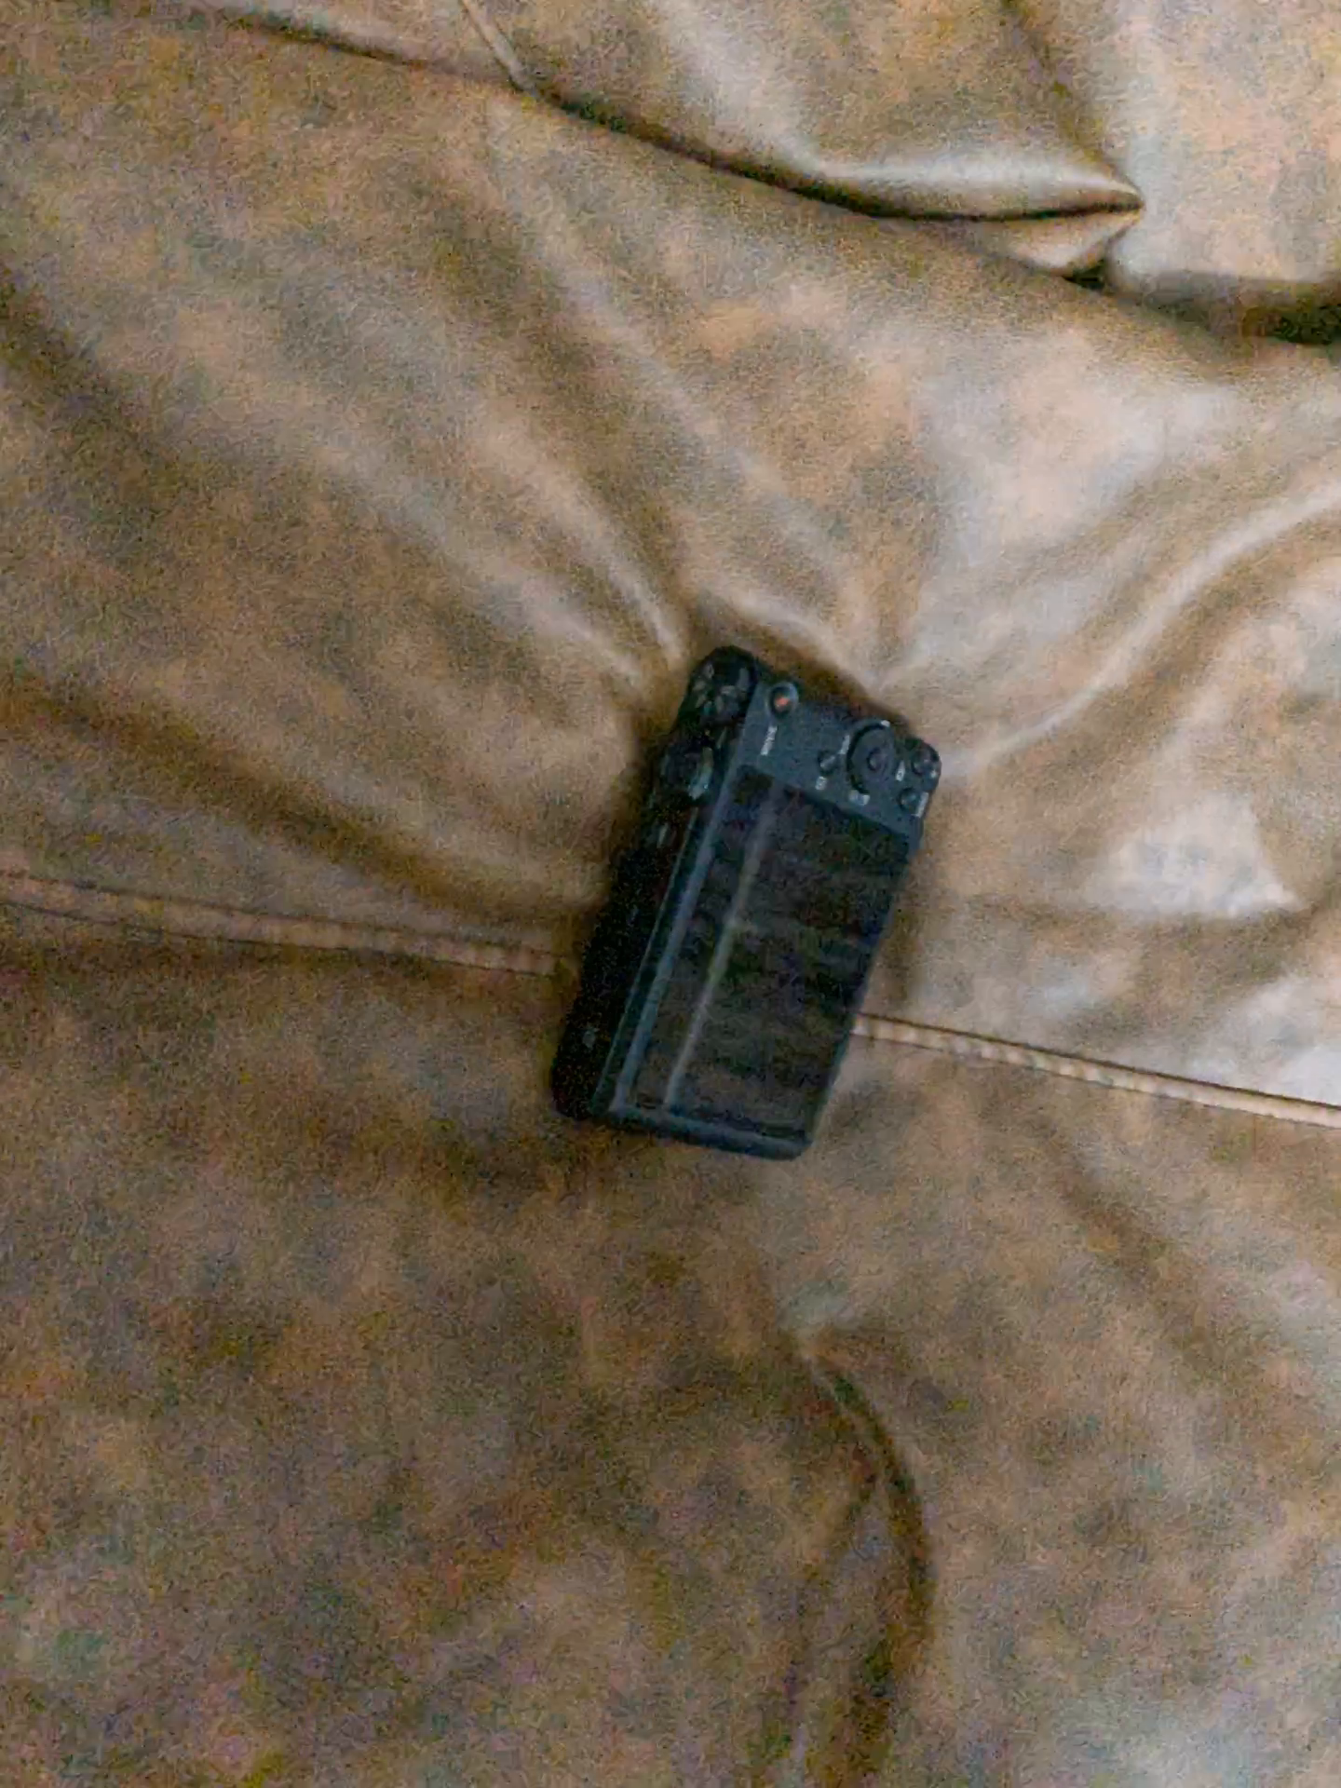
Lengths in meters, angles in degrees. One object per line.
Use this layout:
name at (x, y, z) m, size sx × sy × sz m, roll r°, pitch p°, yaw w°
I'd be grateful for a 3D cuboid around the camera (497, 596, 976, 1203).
camera at (0.014, 0.002, 0.266) m, size 0.060 × 0.024 × 0.100 m, roll 19°, pitch 89°, yaw -29°
